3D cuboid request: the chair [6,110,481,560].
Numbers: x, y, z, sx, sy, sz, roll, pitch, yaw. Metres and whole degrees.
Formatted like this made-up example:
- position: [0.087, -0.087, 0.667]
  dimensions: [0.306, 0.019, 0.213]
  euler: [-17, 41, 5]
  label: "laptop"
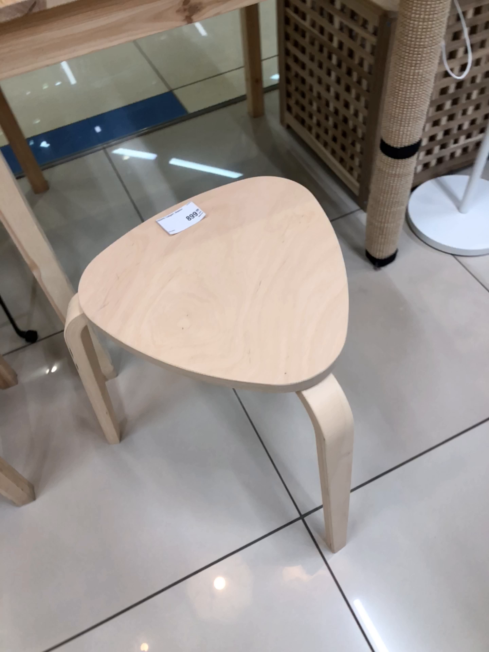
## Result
- position: [0.030, 0.016, 0.898]
  dimensions: [0.491, 0.467, 0.432]
  euler: [20, 59, 19]
  label: "chair"
